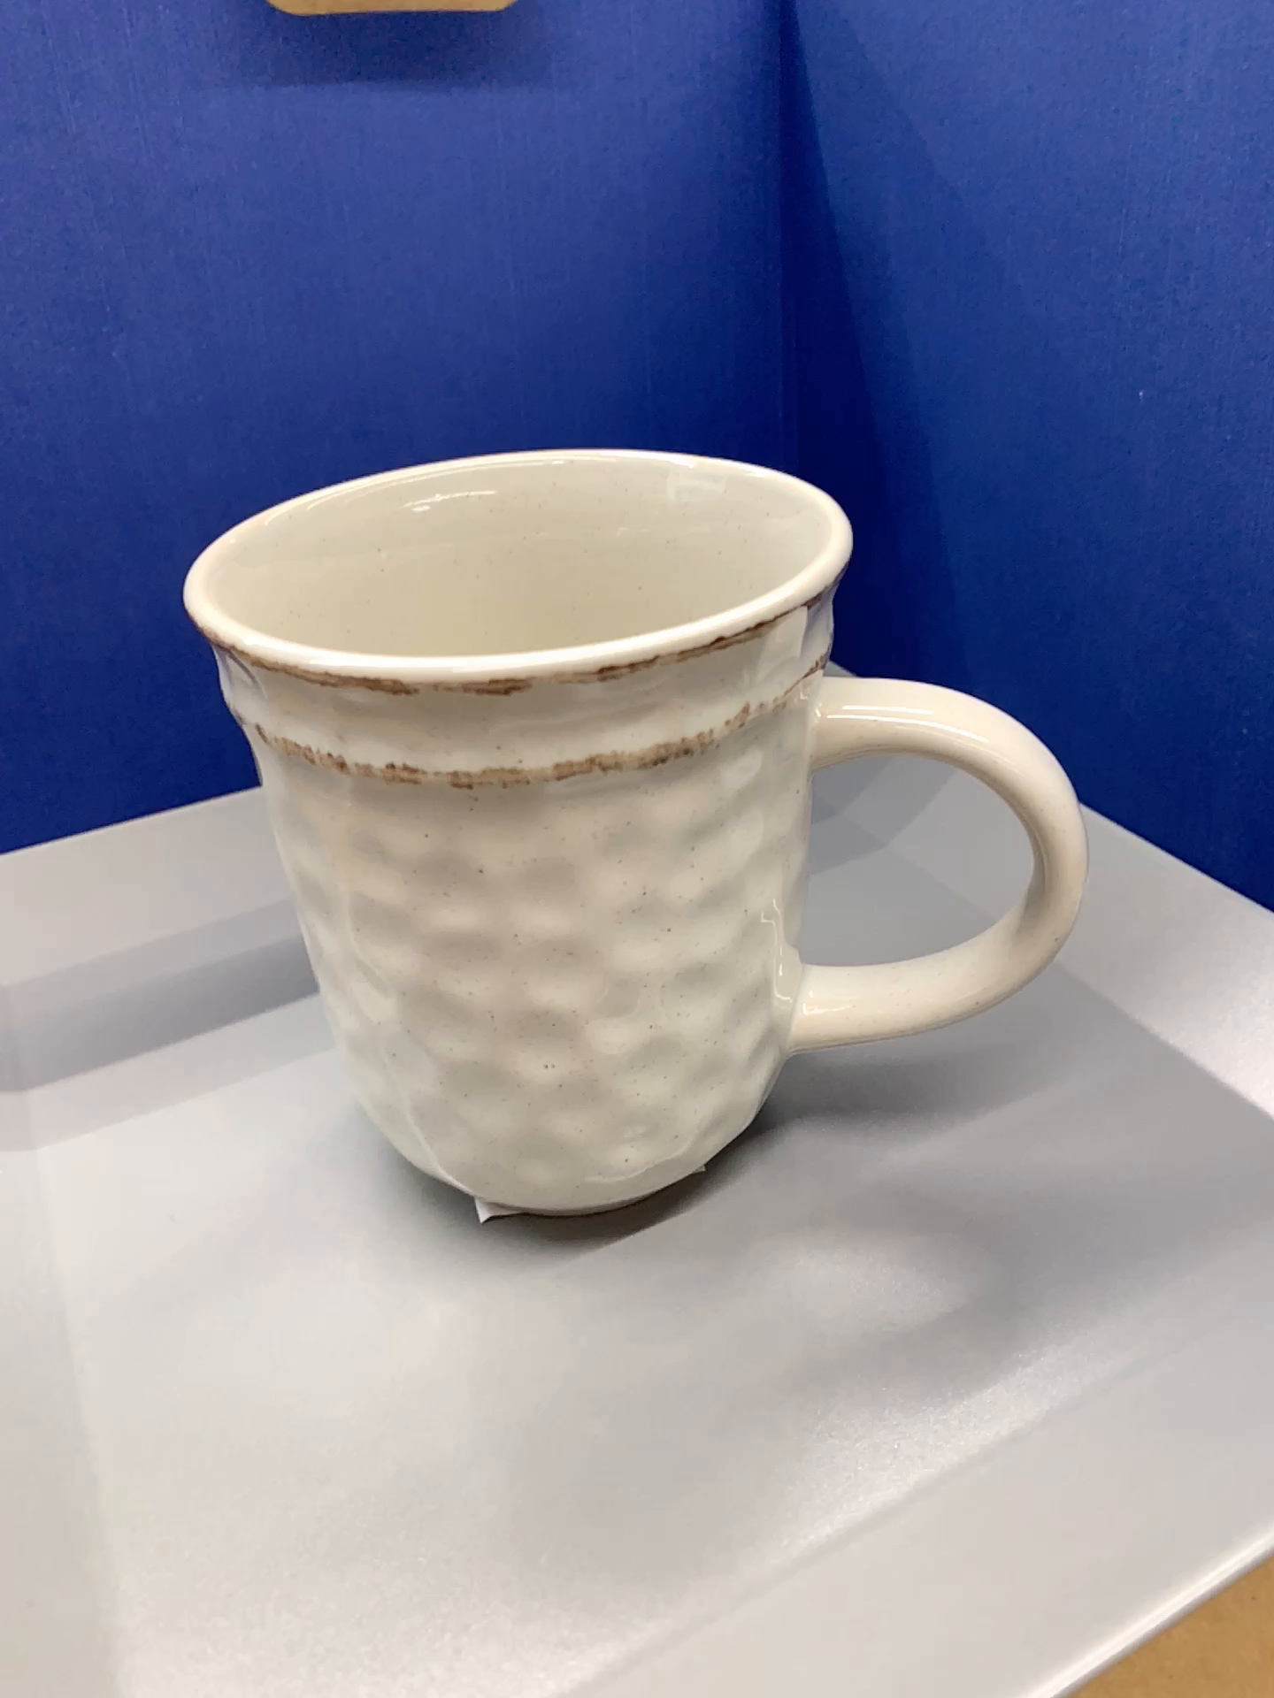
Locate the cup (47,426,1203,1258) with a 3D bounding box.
[{"bbox_3d":[-0.001,-0.009,0.205,0.123,0.082,0.102,-4,28,0],"label":"cup"}]
